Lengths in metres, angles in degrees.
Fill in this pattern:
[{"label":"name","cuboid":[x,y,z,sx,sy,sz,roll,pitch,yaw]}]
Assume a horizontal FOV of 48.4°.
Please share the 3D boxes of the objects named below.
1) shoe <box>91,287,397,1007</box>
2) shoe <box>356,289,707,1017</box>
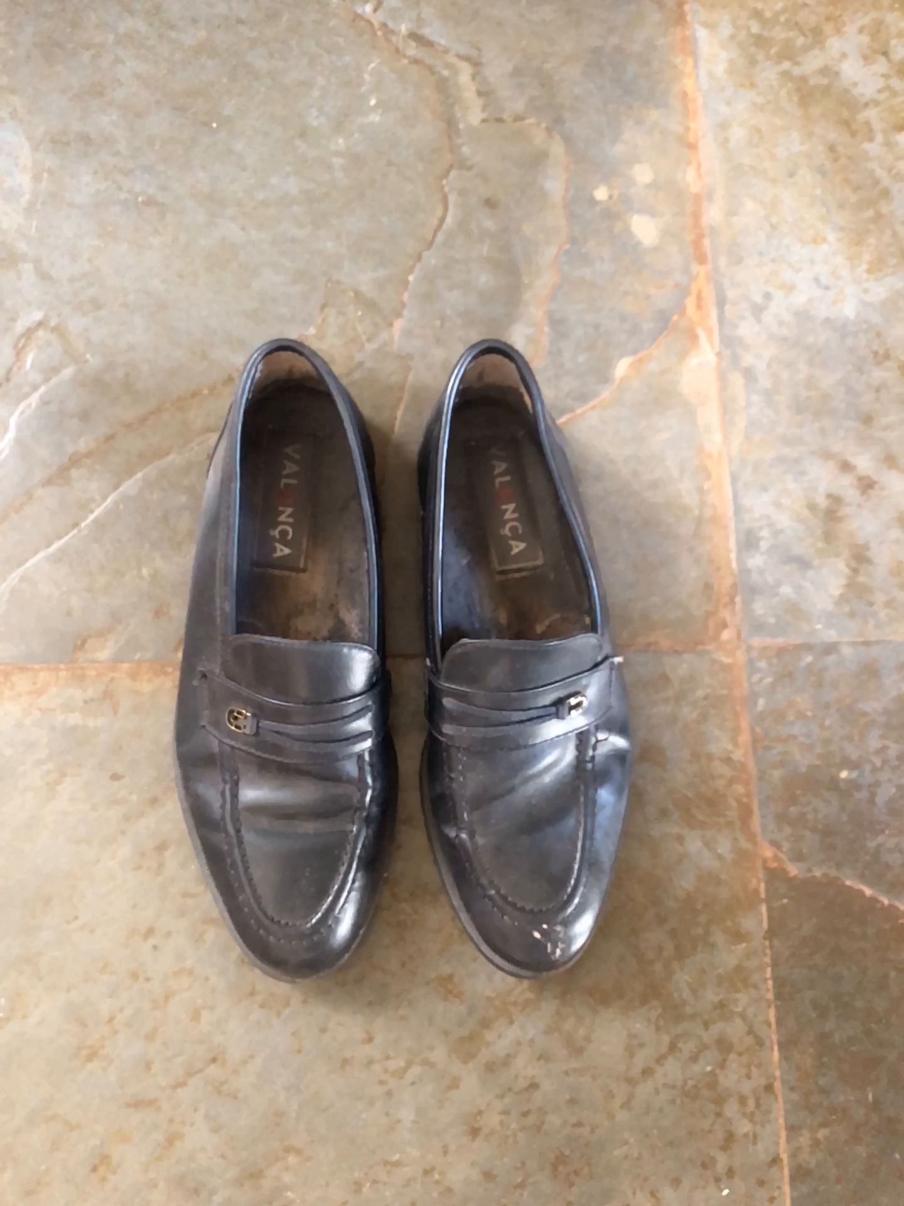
[{"label":"shoe","cuboid":[-0.075,0.016,0.411,0.100,0.100,0.260,-1,79,-3]},{"label":"shoe","cuboid":[0.023,0.018,0.416,0.100,0.100,0.260,-5,79,-3]}]
